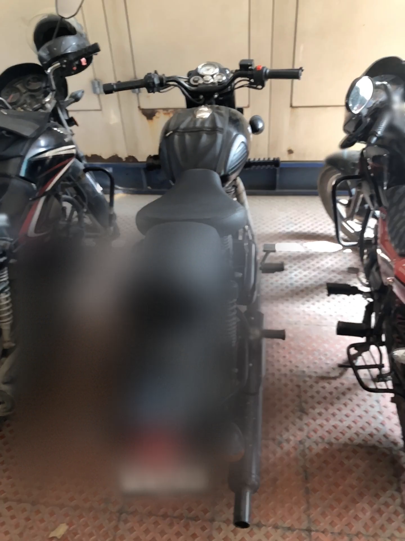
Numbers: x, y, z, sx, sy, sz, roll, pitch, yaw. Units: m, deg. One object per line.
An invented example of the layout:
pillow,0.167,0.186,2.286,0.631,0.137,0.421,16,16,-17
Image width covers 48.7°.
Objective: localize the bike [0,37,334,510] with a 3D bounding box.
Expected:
bike,-0.069,-0.197,1.732,0.709,0.919,1.696,0,38,4
